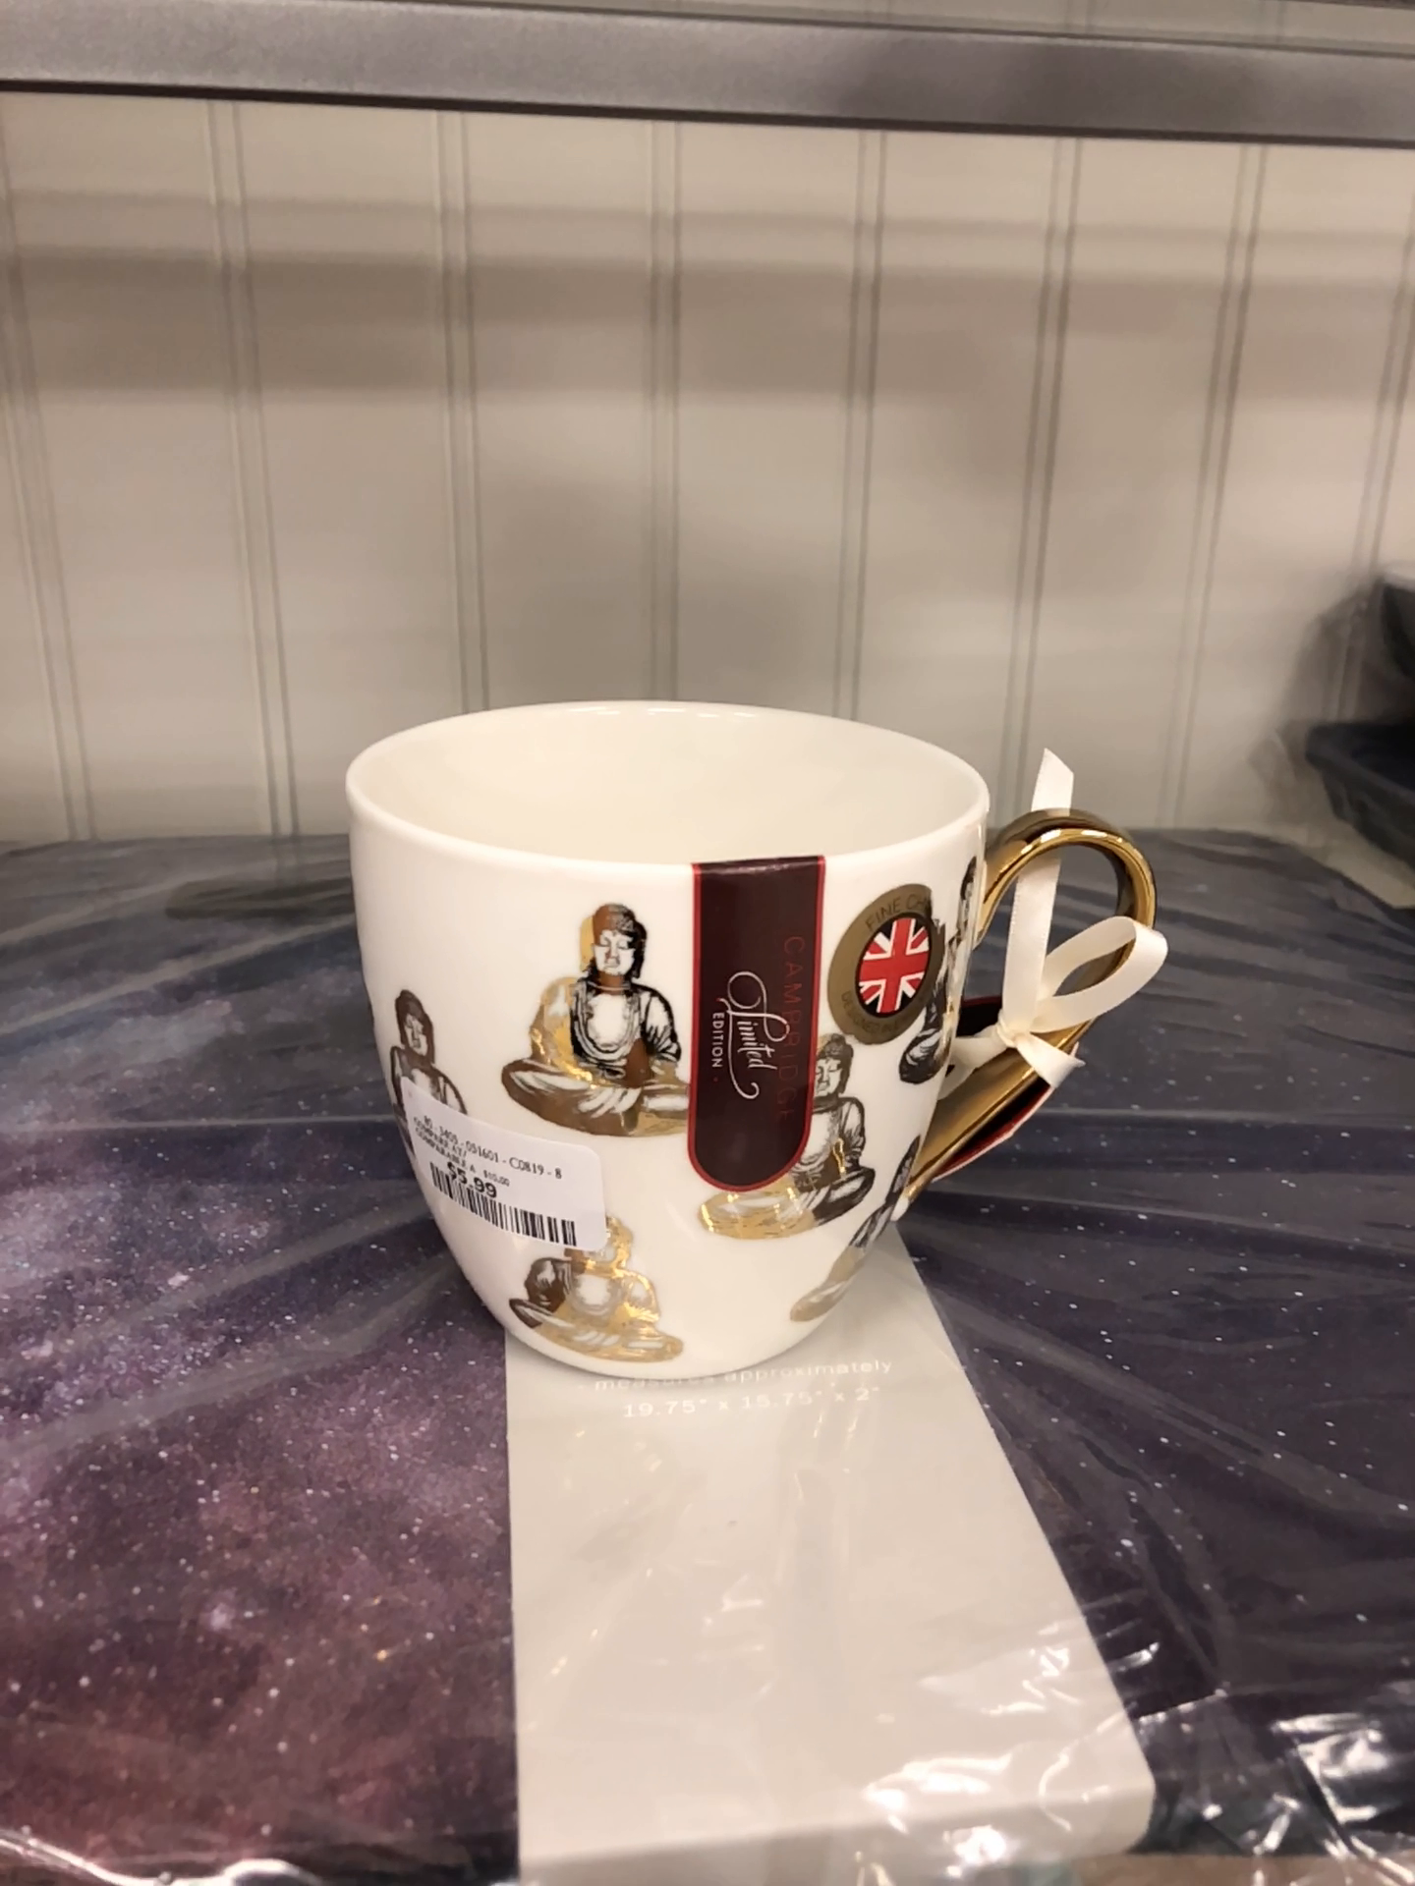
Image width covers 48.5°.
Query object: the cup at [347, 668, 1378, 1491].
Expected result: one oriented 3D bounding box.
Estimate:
[{"bbox_3d":[0.014,0.011,0.263,0.137,0.089,0.101,-4,22,-13],"label":"cup"}]
